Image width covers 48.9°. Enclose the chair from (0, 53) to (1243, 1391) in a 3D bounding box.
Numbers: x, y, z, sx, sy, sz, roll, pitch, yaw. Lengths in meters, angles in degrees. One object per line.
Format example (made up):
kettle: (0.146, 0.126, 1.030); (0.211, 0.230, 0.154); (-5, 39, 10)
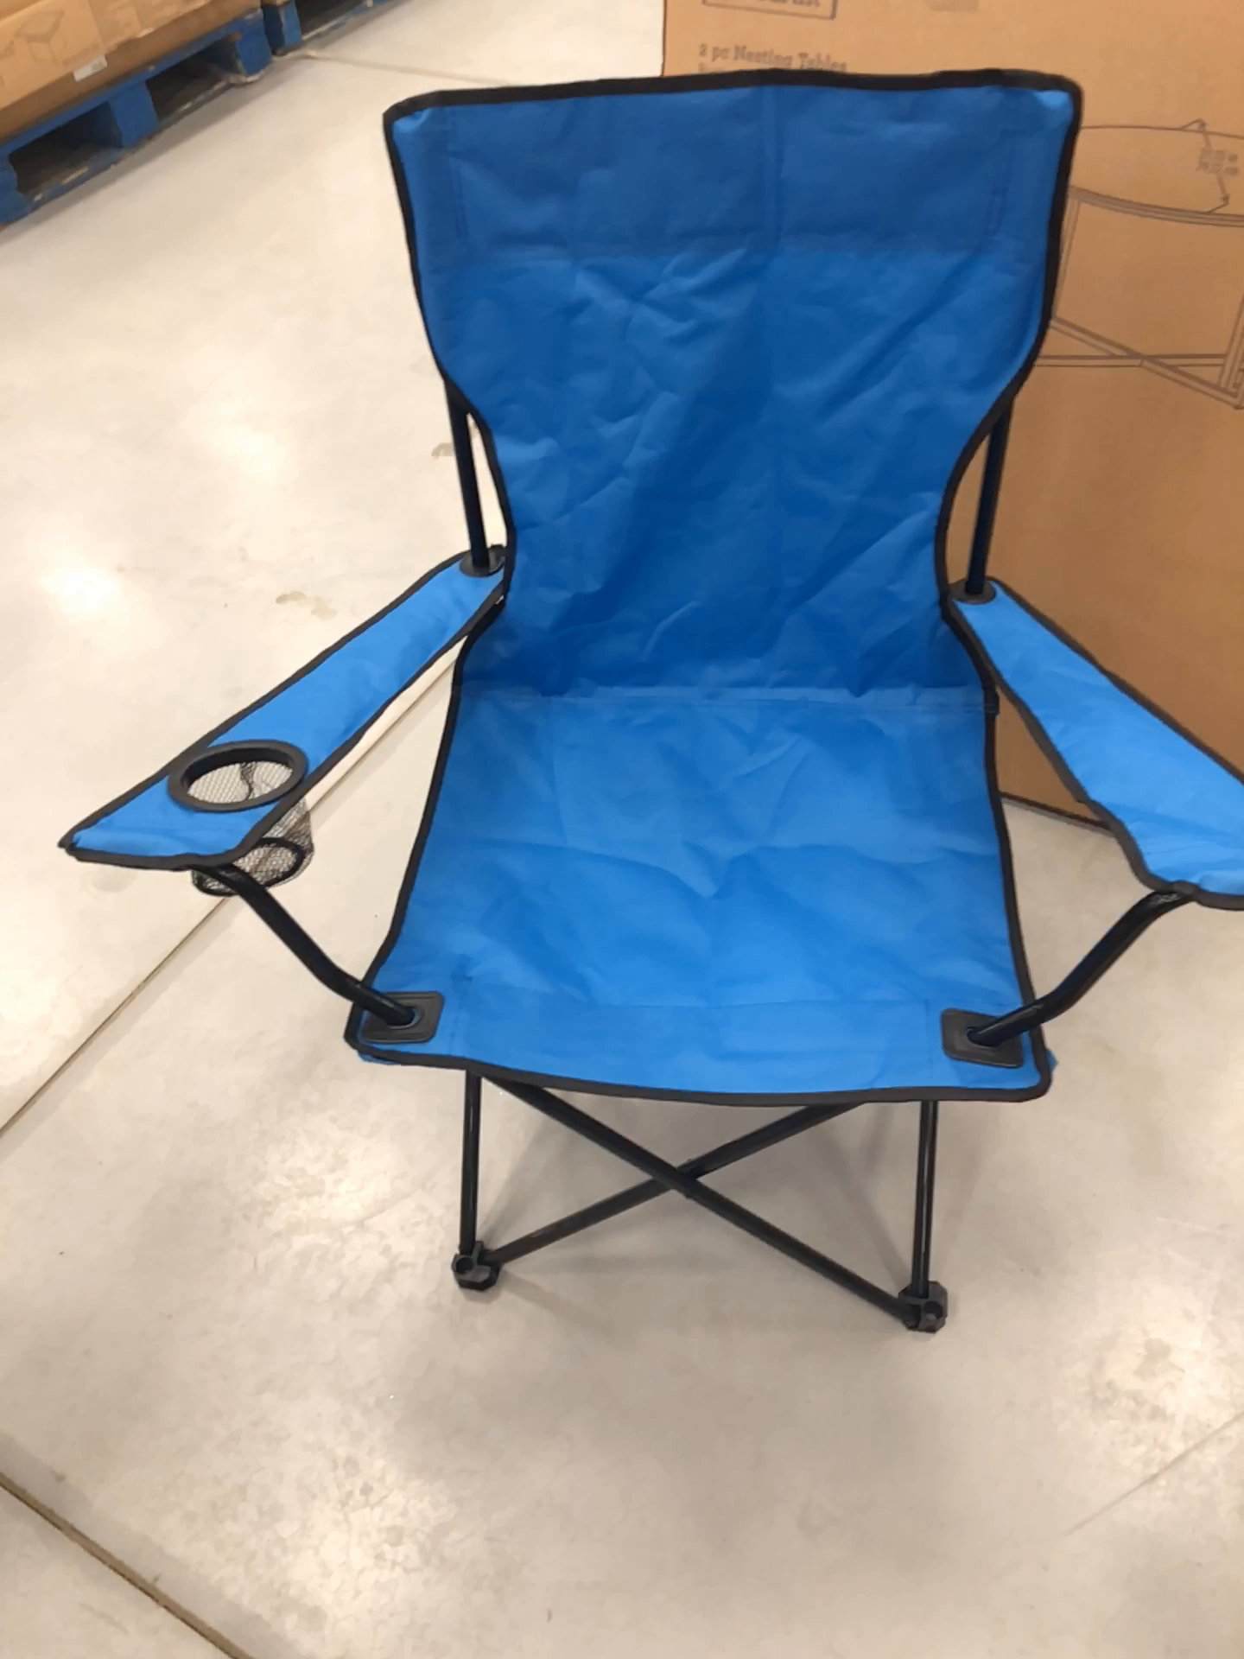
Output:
chair: (0.065, -0.049, 1.108); (0.790, 0.837, 0.622); (2, 48, 7)
